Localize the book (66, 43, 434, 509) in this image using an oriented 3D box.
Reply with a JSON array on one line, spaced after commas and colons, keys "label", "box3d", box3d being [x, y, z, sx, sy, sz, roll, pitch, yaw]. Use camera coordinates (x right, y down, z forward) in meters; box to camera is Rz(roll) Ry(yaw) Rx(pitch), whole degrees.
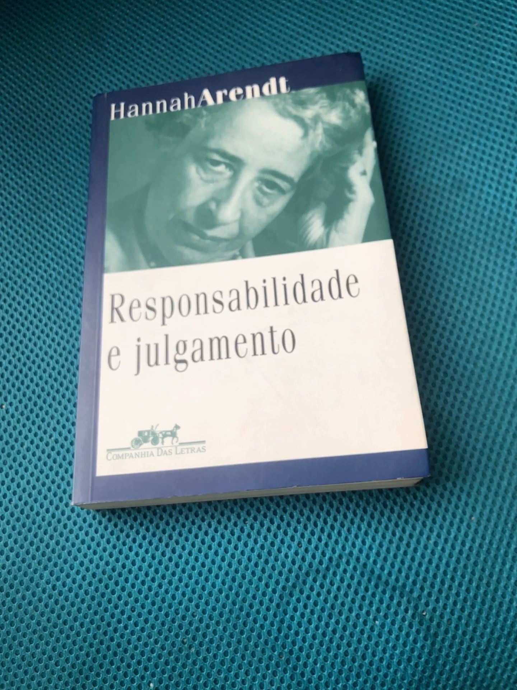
[{"label": "book", "box3d": [-0.010, -0.037, 0.273, 0.141, 0.035, 0.209, -6, 69, 7]}]
